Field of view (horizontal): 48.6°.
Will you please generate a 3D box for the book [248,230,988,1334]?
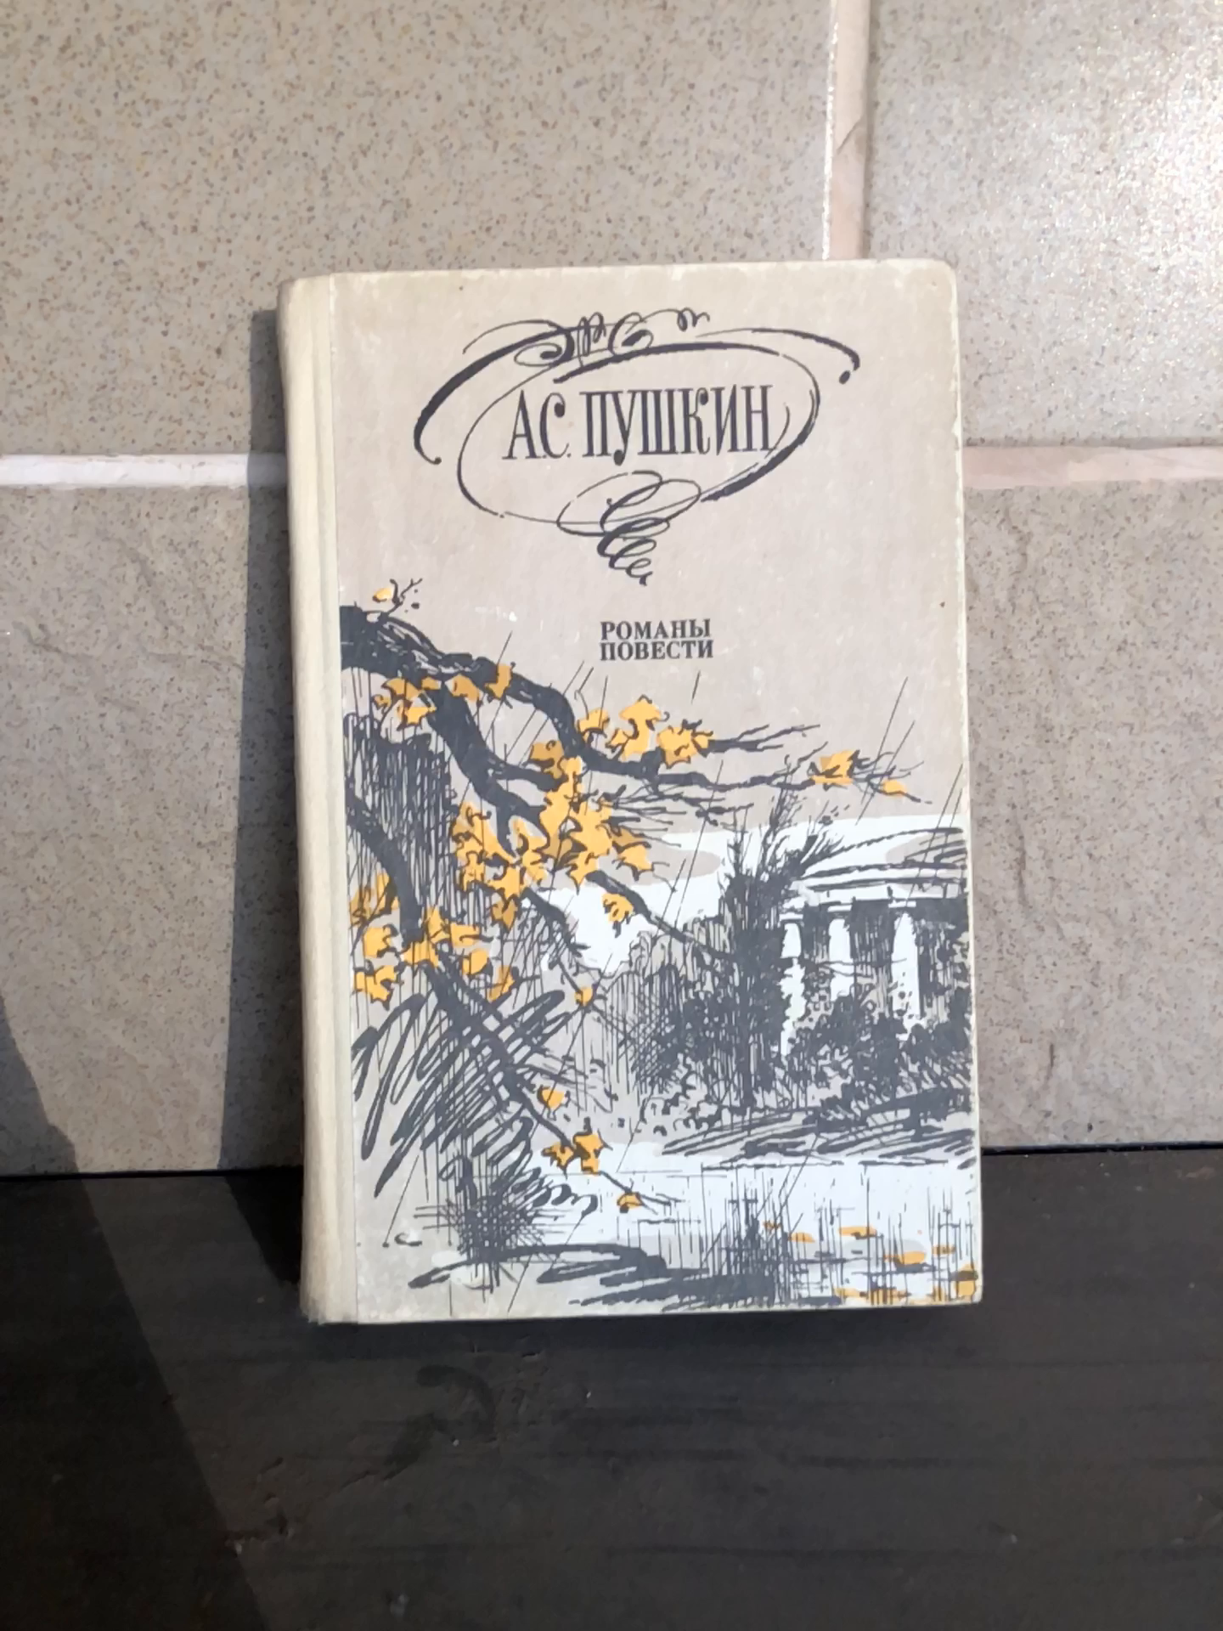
[{"bbox_3d":[0.003,-0.004,0.256,0.130,0.198,0.020,-1,5,0],"label":"book"}]
